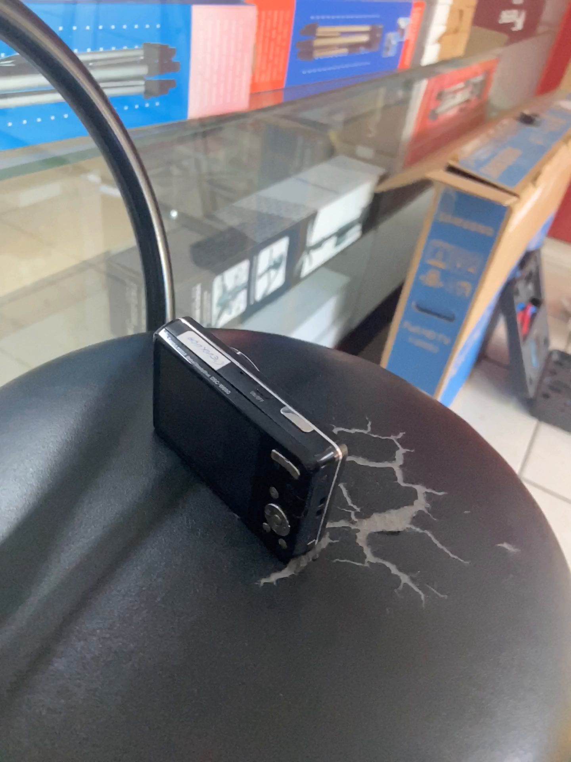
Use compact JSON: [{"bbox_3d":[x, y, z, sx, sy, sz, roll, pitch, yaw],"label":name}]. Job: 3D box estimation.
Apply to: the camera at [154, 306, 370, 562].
[{"bbox_3d":[-0.016,0.017,0.237,0.024,0.051,0.097,-24,49,-37],"label":"camera"}]
